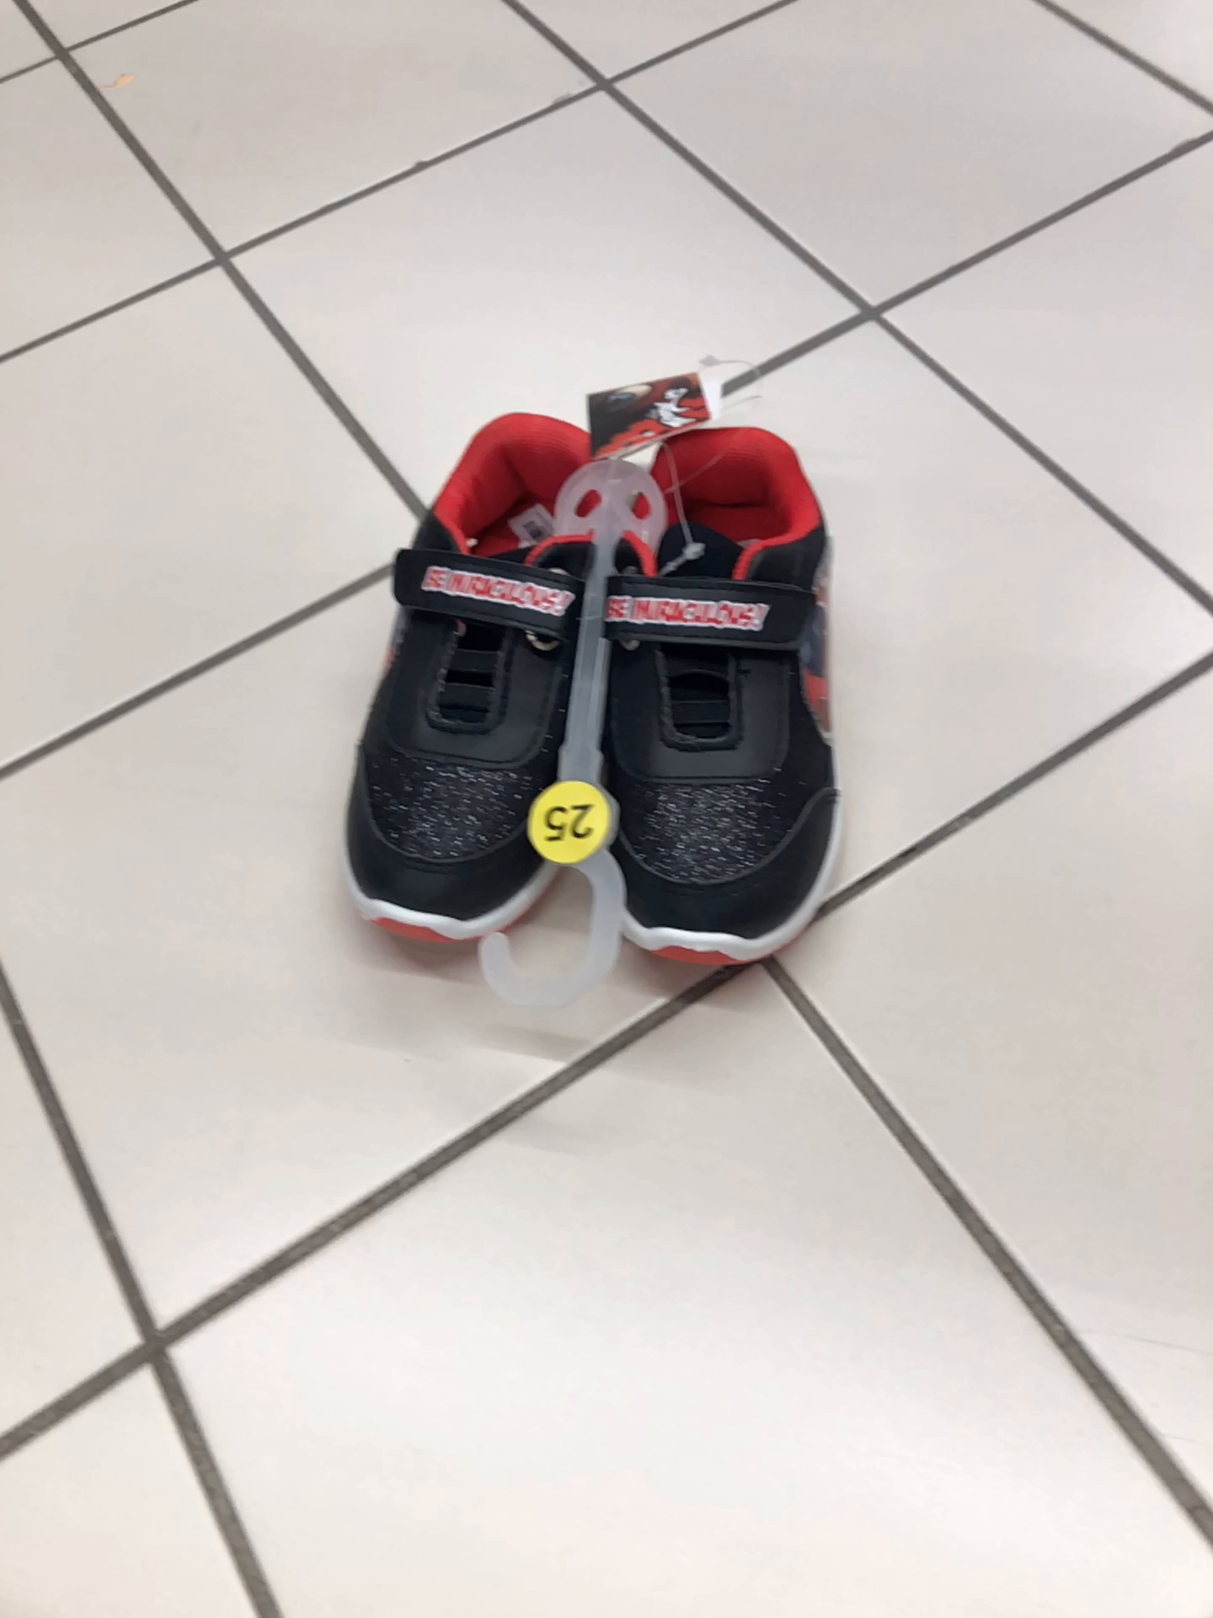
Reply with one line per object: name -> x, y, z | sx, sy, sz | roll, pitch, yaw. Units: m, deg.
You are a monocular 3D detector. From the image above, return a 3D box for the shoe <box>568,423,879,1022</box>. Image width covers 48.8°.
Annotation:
shoe -> 0.036, -0.029, 0.403 | 0.077, 0.071, 0.168 | 1, 59, 5

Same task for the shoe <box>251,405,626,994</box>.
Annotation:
shoe -> -0.042, -0.037, 0.408 | 0.075, 0.070, 0.167 | 3, 60, 7
